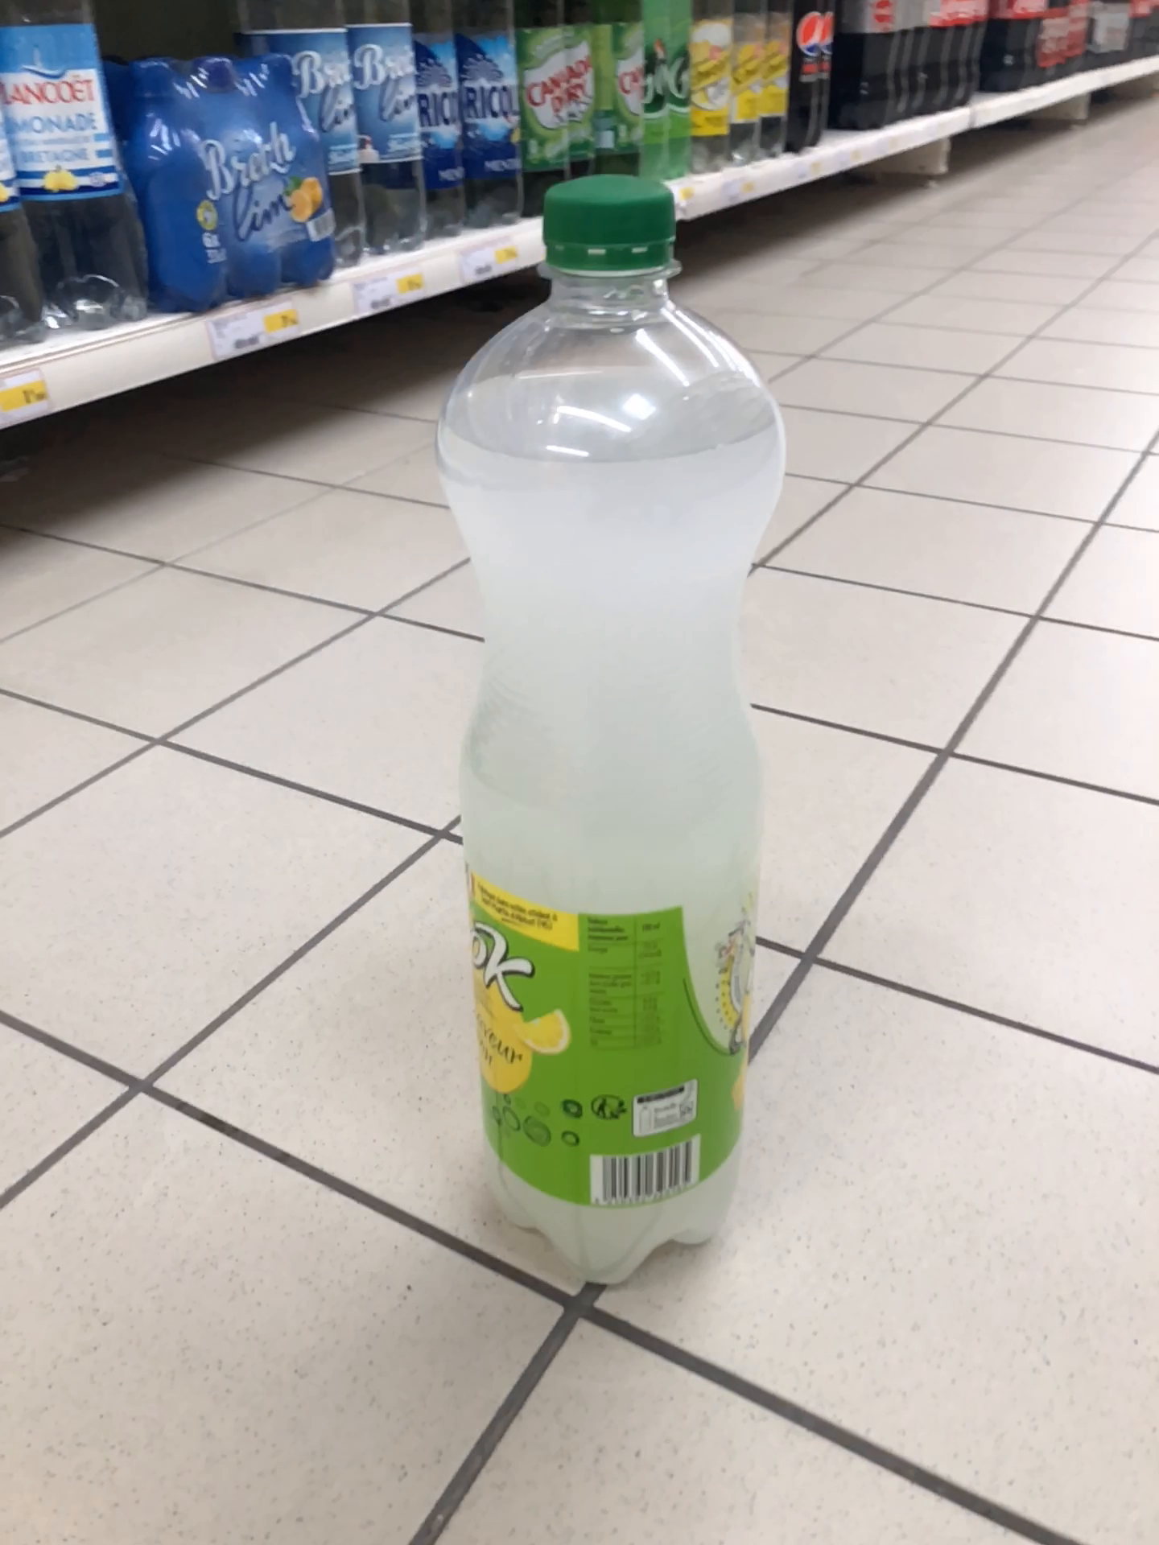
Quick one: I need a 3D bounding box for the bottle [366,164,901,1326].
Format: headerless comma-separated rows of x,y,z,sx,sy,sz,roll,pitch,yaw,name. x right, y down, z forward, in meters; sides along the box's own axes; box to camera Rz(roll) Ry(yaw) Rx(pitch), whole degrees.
0.010,0.006,0.356,0.100,0.308,0.101,-1,30,1,bottle
